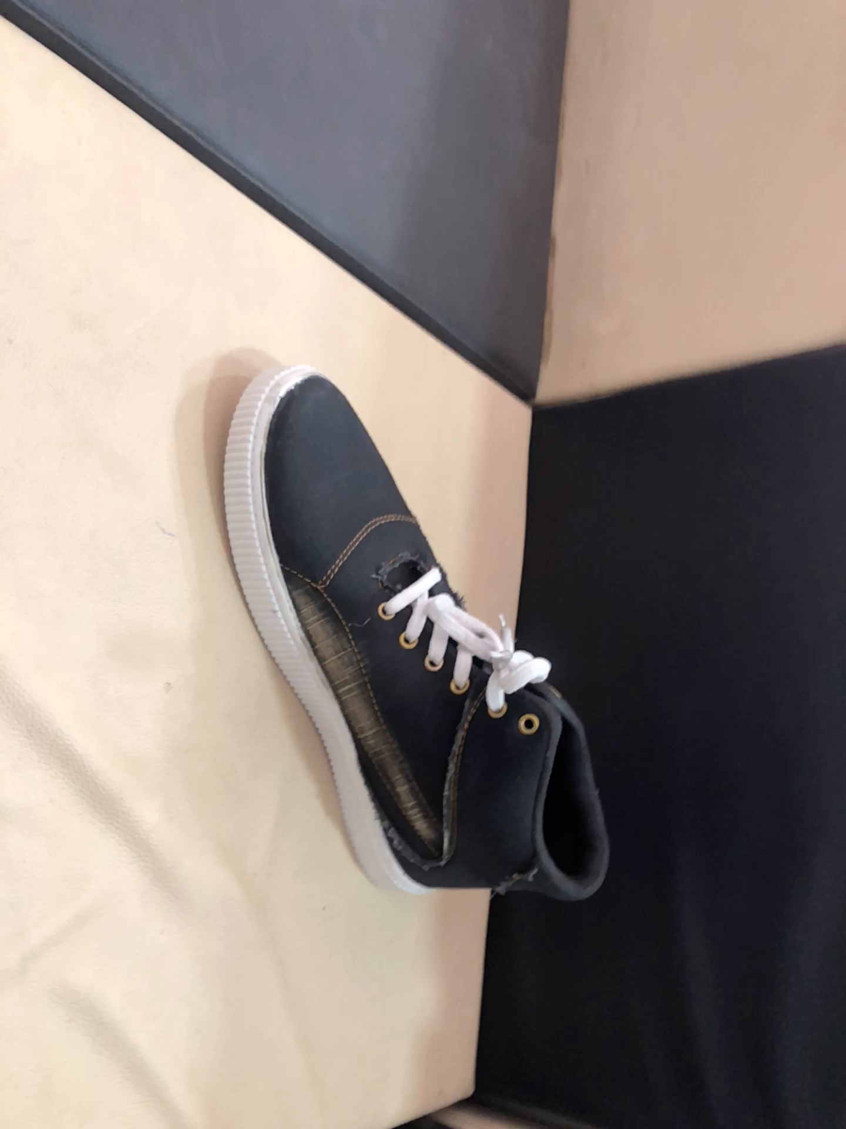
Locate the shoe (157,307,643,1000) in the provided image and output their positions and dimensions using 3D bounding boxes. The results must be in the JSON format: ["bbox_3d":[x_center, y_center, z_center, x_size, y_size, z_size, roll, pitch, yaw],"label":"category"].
[{"bbox_3d":[0.003,0.048,0.452,0.101,0.109,0.301,-41,120,-47],"label":"shoe"}]
